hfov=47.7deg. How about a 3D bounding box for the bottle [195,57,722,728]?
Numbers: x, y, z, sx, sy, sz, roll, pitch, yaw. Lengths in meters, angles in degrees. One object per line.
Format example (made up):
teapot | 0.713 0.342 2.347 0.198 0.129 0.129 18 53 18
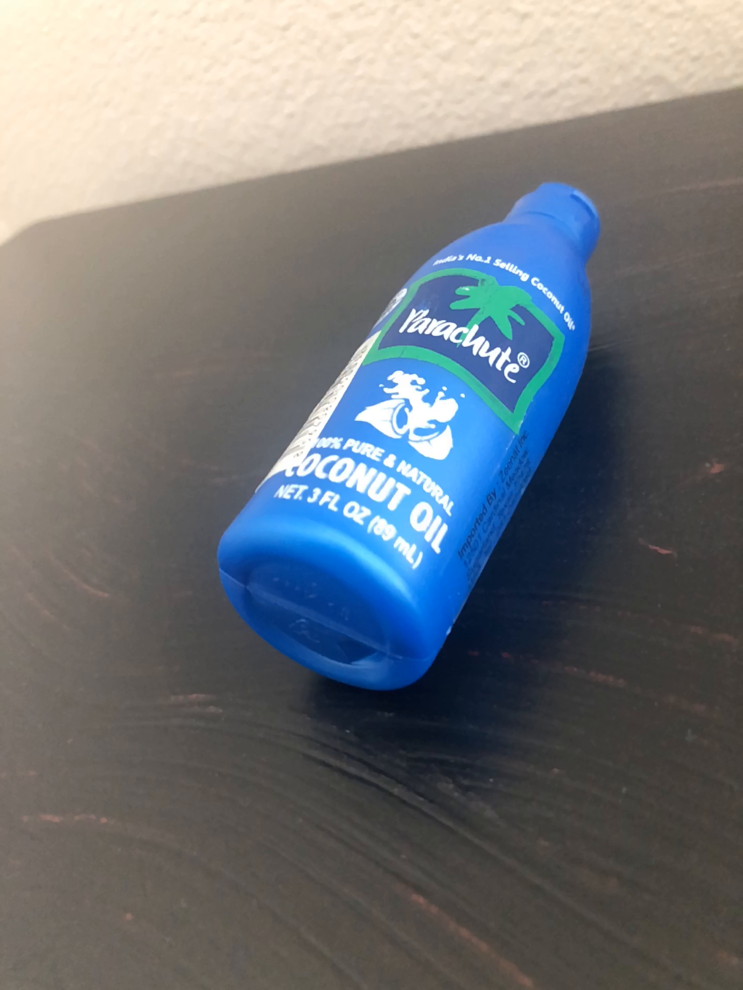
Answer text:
bottle | 0.024 -0.031 0.160 0.040 0.040 0.140 25 53 11
